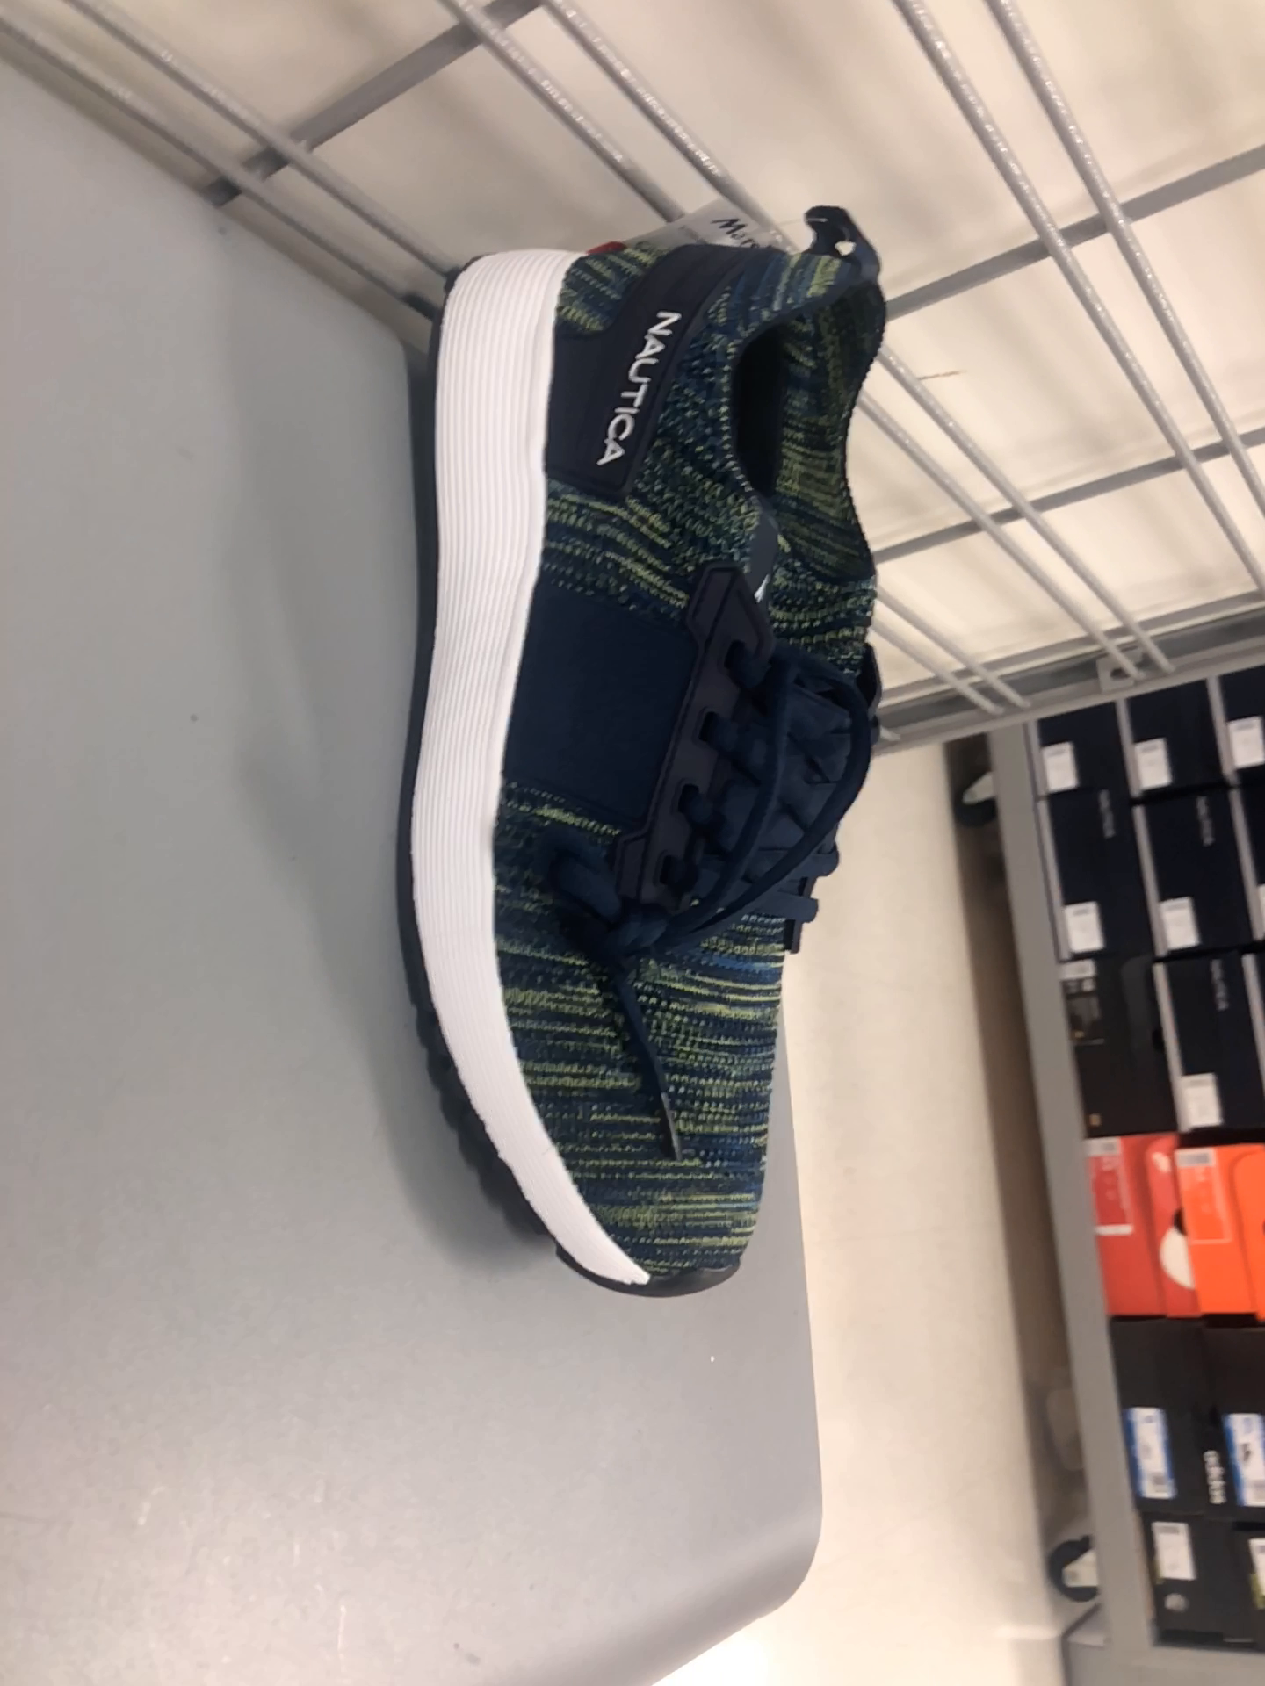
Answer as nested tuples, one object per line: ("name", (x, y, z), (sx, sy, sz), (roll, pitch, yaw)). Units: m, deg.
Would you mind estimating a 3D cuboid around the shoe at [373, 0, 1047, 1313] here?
("shoe", (0.017, -0.035, 0.348), (0.114, 0.104, 0.276), (17, 66, -57))
